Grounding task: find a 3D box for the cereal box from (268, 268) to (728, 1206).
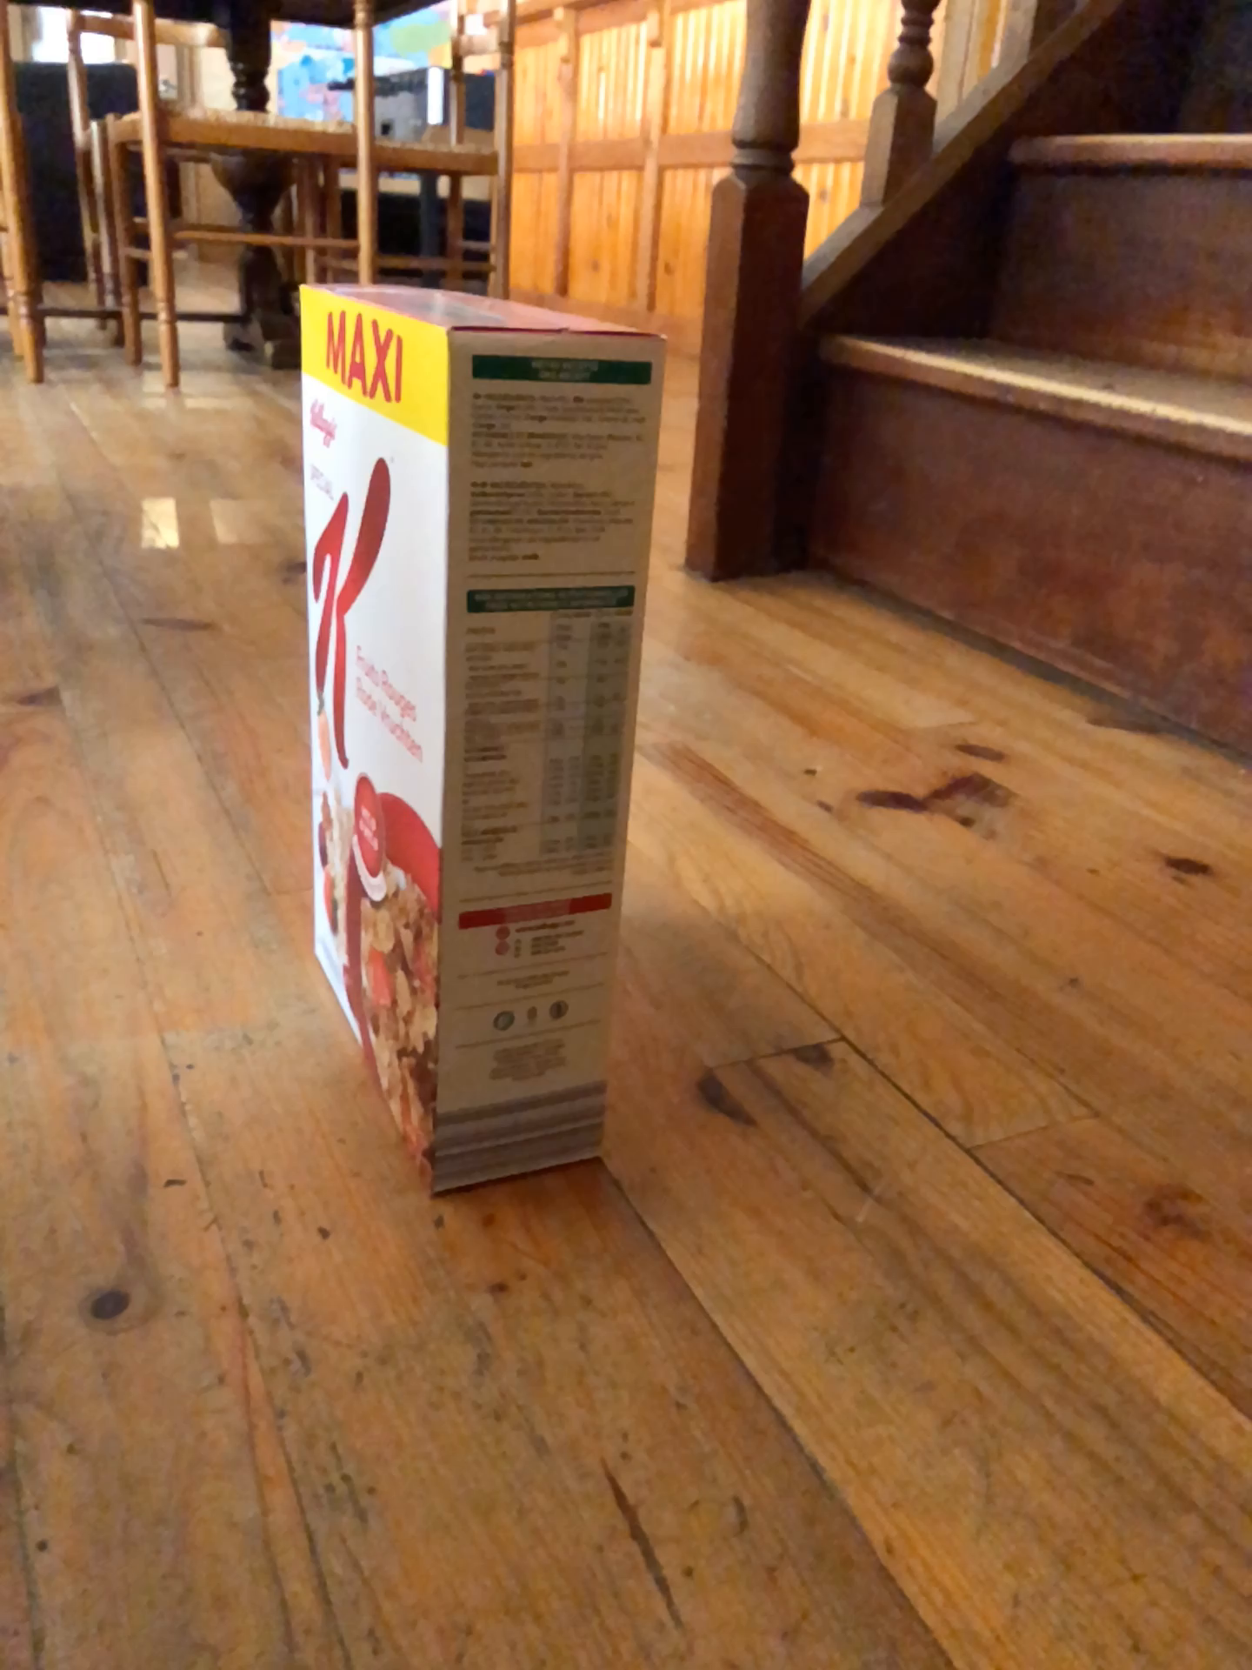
[{"bbox_3d":[-0.064,-0.051,0.521,0.090,0.288,0.211,-7,25,-24],"label":"cereal box"}]
